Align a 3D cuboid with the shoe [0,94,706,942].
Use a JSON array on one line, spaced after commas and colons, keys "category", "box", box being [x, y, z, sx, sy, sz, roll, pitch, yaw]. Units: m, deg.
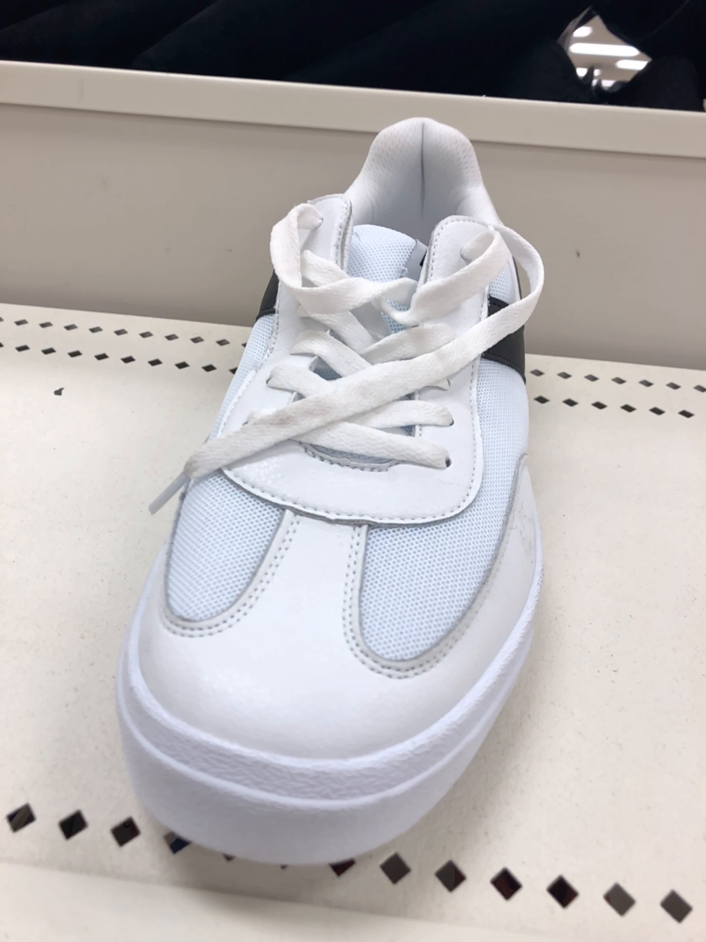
[{"category": "shoe", "box": [0.024, -0.056, 0.285, 0.113, 0.129, 0.373, 8, 28, 9]}]
